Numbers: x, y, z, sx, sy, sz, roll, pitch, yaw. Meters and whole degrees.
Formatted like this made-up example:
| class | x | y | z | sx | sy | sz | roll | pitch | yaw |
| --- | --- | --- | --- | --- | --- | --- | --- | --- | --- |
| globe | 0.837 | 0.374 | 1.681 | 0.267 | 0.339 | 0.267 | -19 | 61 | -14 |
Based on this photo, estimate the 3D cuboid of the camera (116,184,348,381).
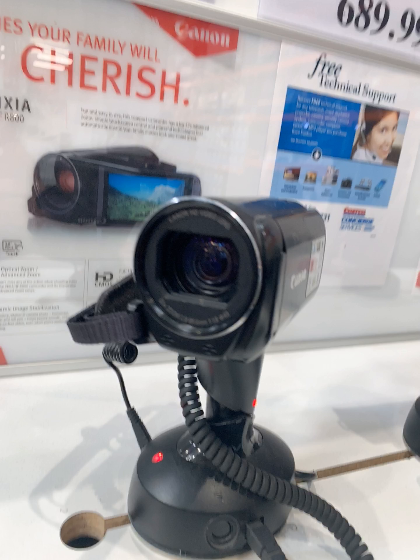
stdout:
| class | x | y | z | sx | sy | sz | roll | pitch | yaw |
| --- | --- | --- | --- | --- | --- | --- | --- | --- | --- |
| camera | 0.020 | -0.012 | 0.188 | 0.050 | 0.050 | 0.125 | 14 | 17 | 22 |
